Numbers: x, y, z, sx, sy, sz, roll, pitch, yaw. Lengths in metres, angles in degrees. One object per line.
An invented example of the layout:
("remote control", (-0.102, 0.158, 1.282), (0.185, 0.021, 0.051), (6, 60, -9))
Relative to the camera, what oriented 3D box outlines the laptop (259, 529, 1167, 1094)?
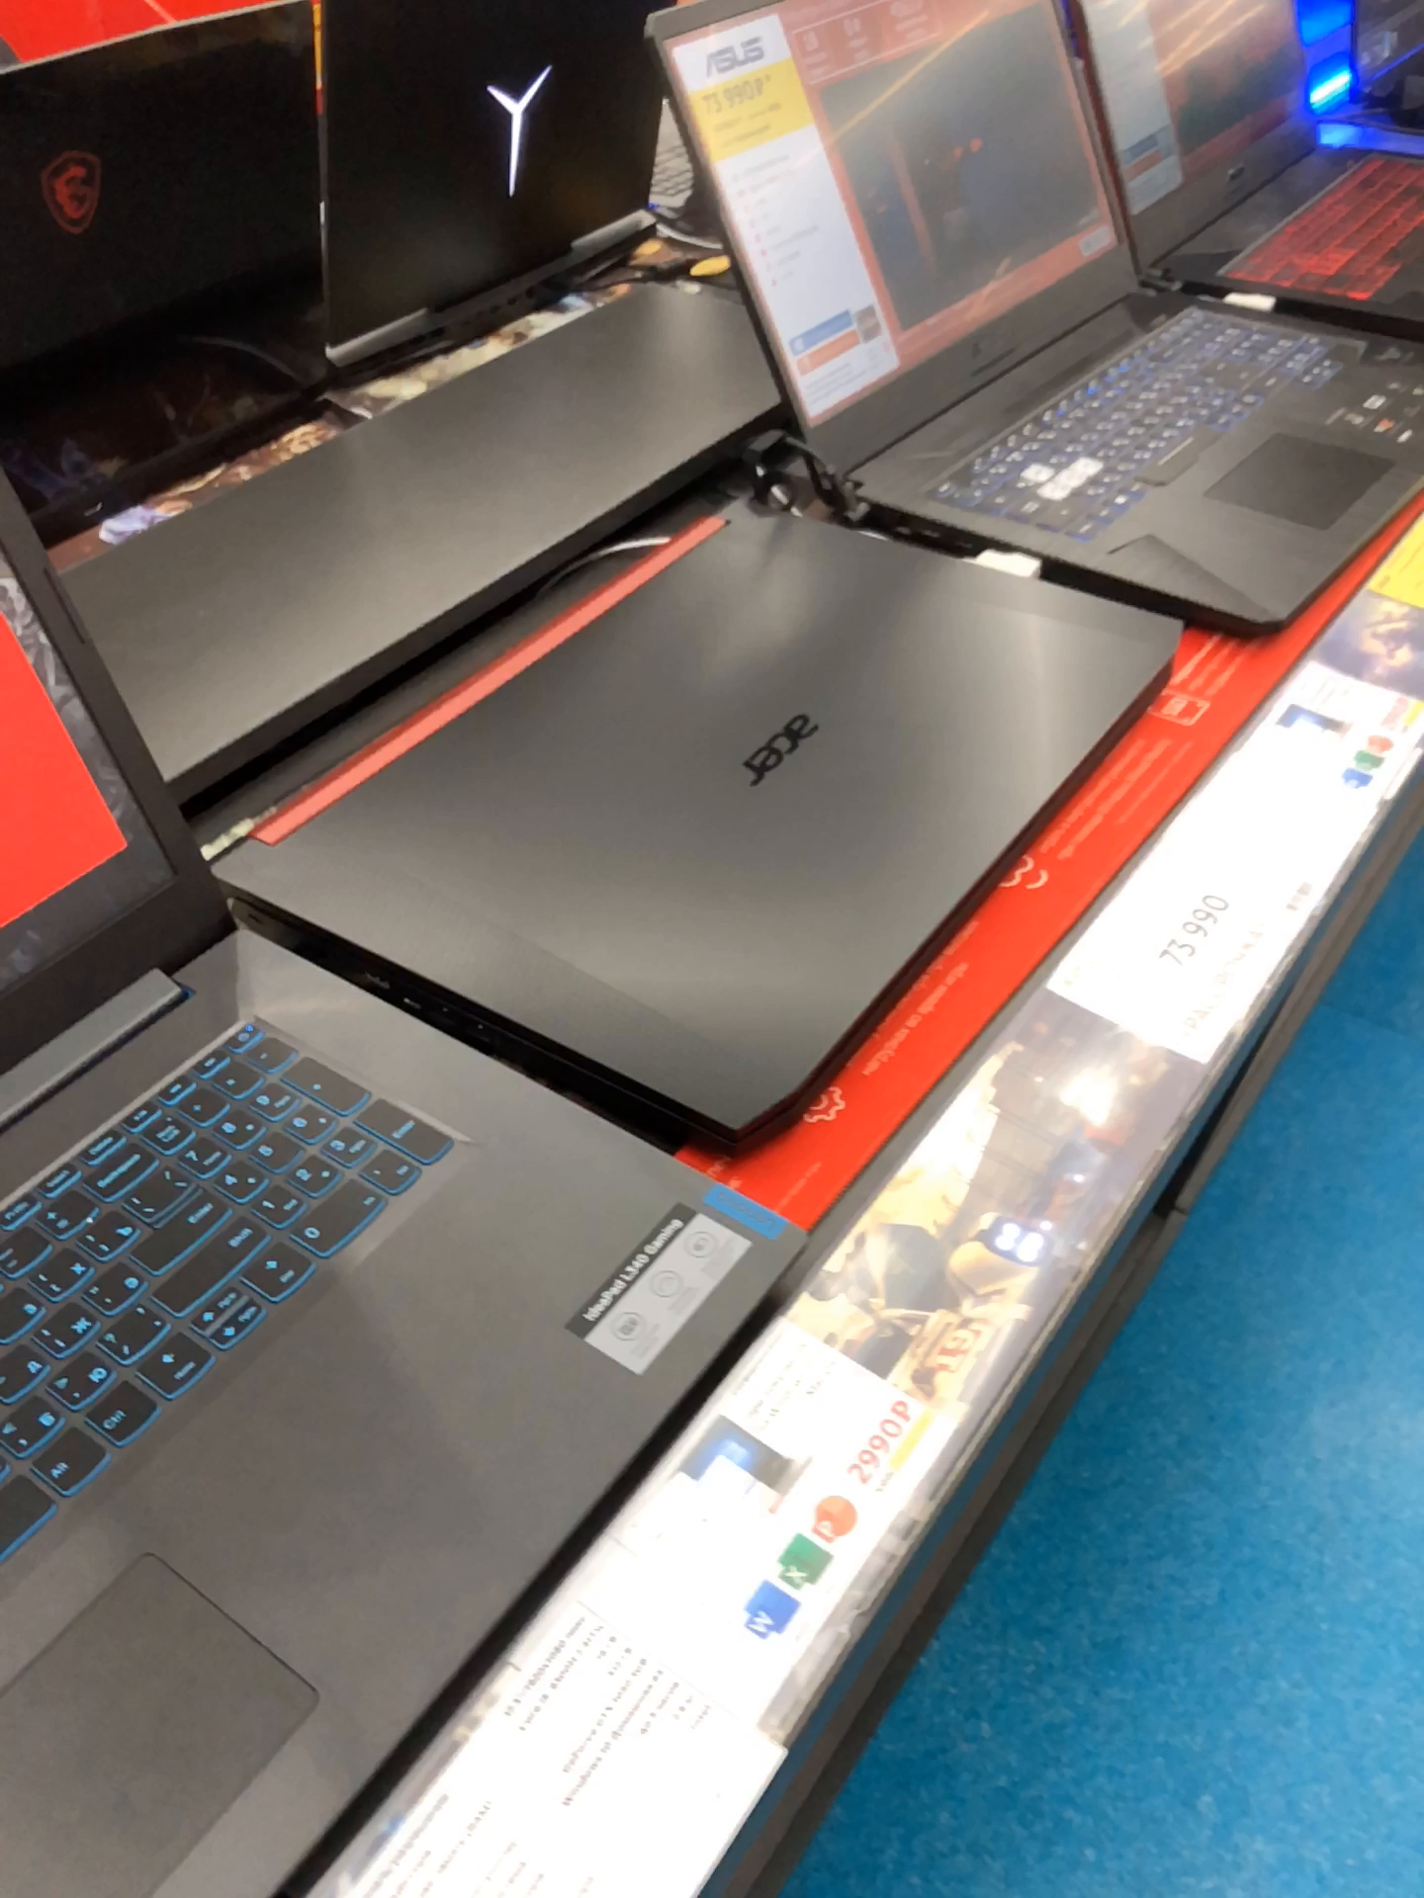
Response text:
("laptop", (0.020, -0.094, 0.715), (0.255, 0.002, 0.371), (21, 45, 25))
